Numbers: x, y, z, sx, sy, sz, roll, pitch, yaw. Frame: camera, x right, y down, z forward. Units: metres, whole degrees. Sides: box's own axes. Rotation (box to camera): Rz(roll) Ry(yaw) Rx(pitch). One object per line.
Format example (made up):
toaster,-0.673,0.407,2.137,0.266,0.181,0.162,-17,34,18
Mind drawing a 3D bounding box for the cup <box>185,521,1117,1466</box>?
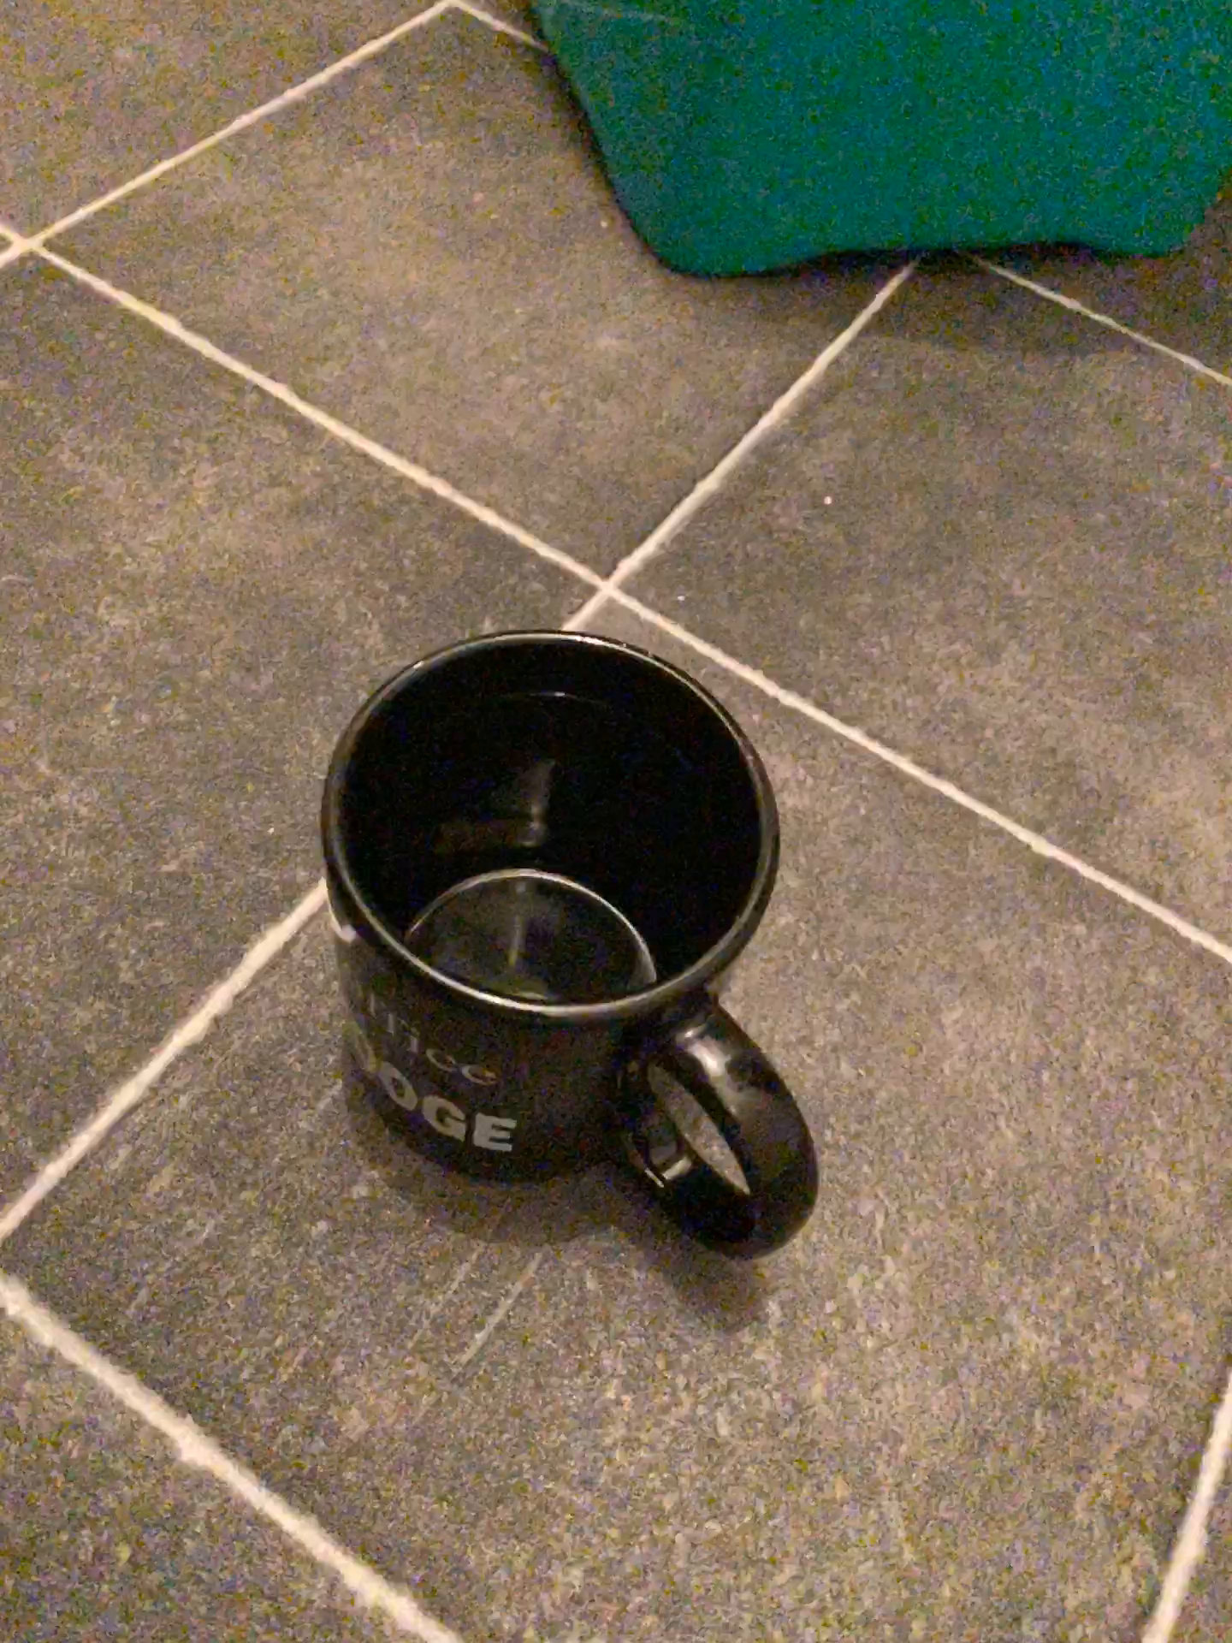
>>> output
cup,-0.001,0.034,0.251,0.090,0.099,0.130,-37,71,-27
